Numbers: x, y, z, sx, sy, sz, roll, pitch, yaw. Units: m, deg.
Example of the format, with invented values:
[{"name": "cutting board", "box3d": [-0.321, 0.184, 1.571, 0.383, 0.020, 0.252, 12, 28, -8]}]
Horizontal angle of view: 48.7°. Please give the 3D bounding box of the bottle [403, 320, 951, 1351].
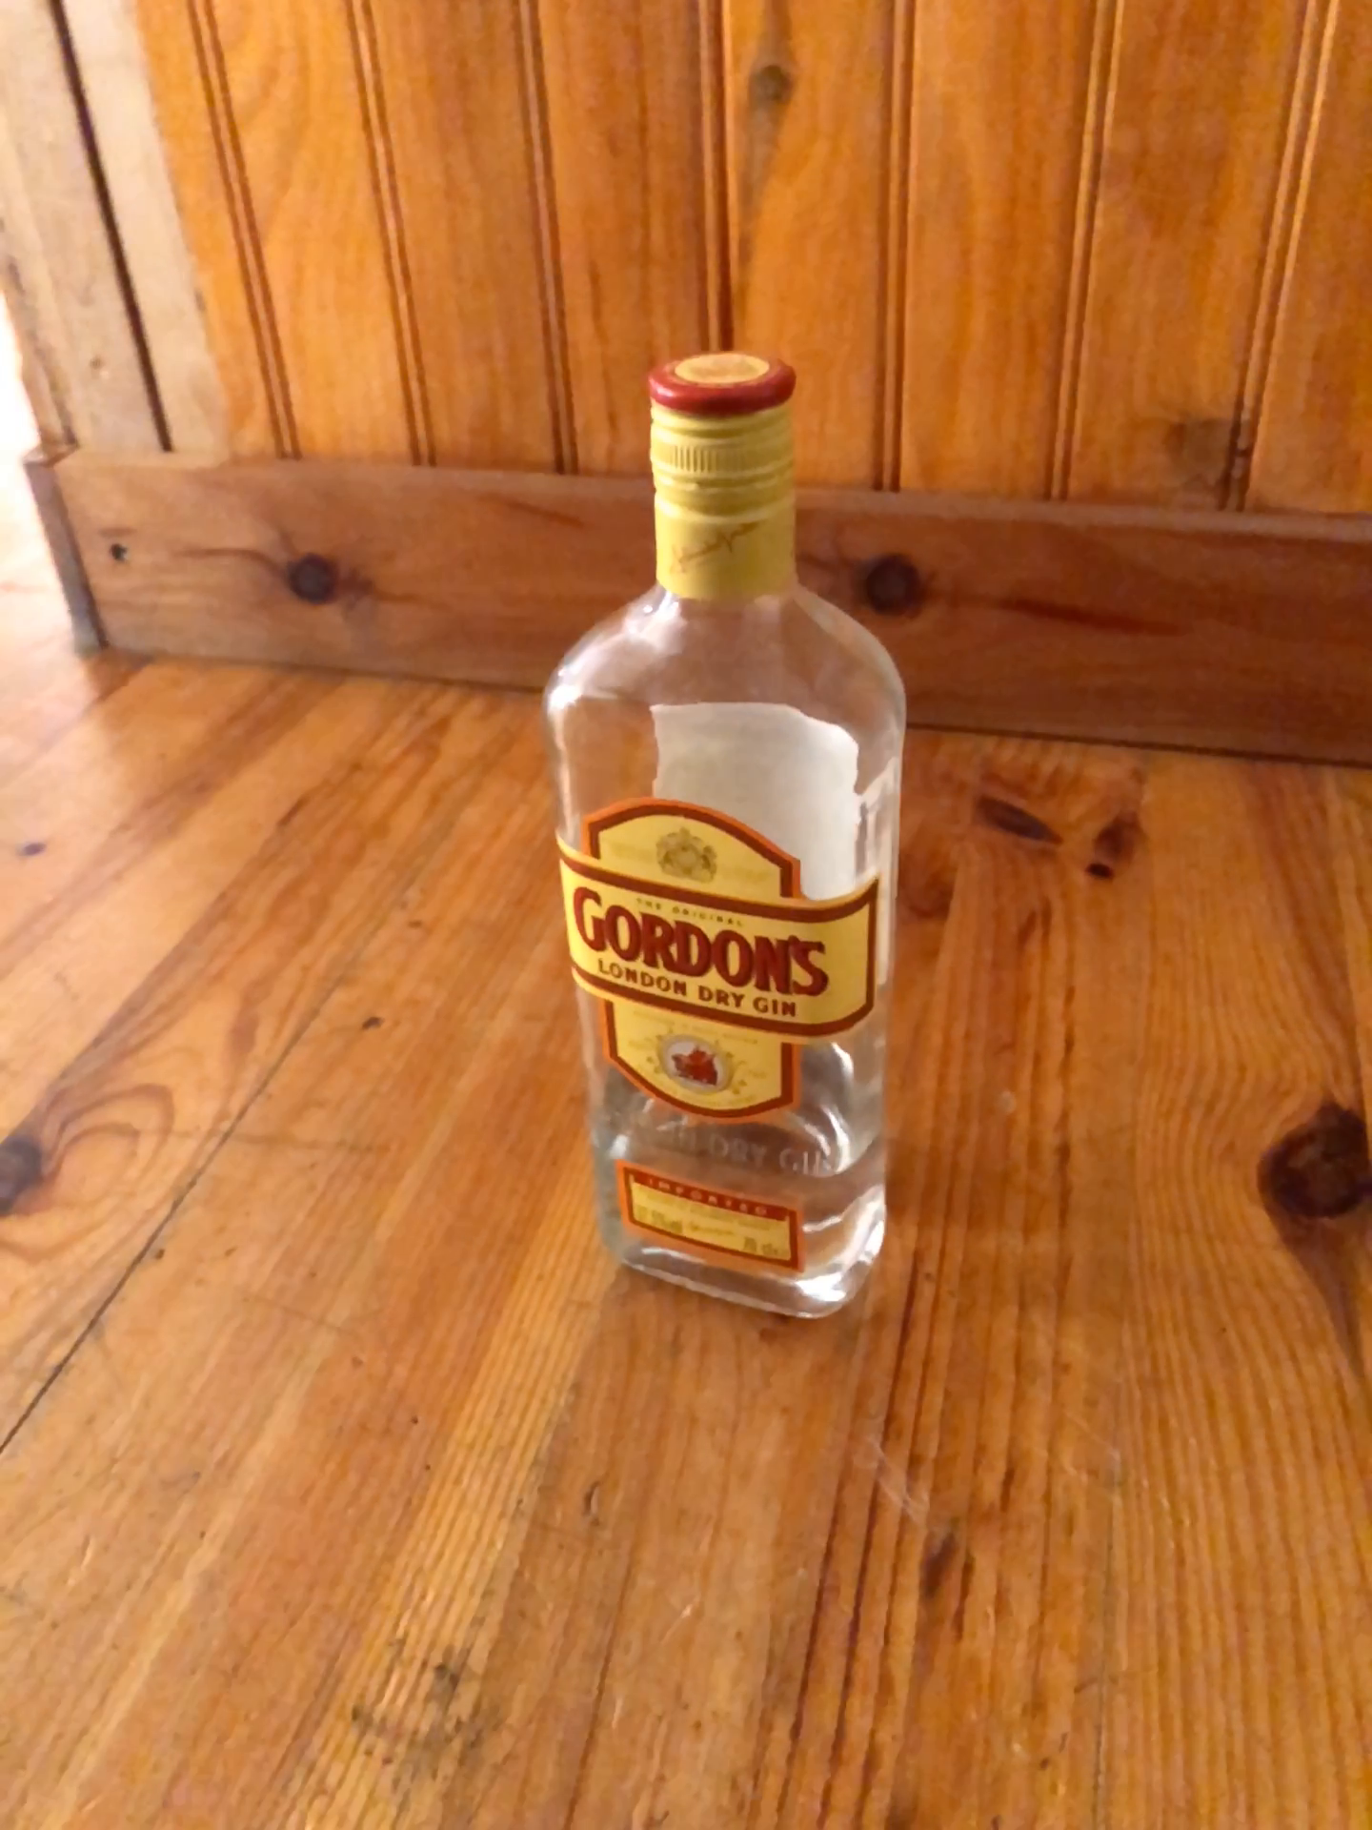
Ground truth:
[{"name": "bottle", "box3d": [0.006, -0.008, 0.364, 0.090, 0.239, 0.060, 12, 39, 20]}]
